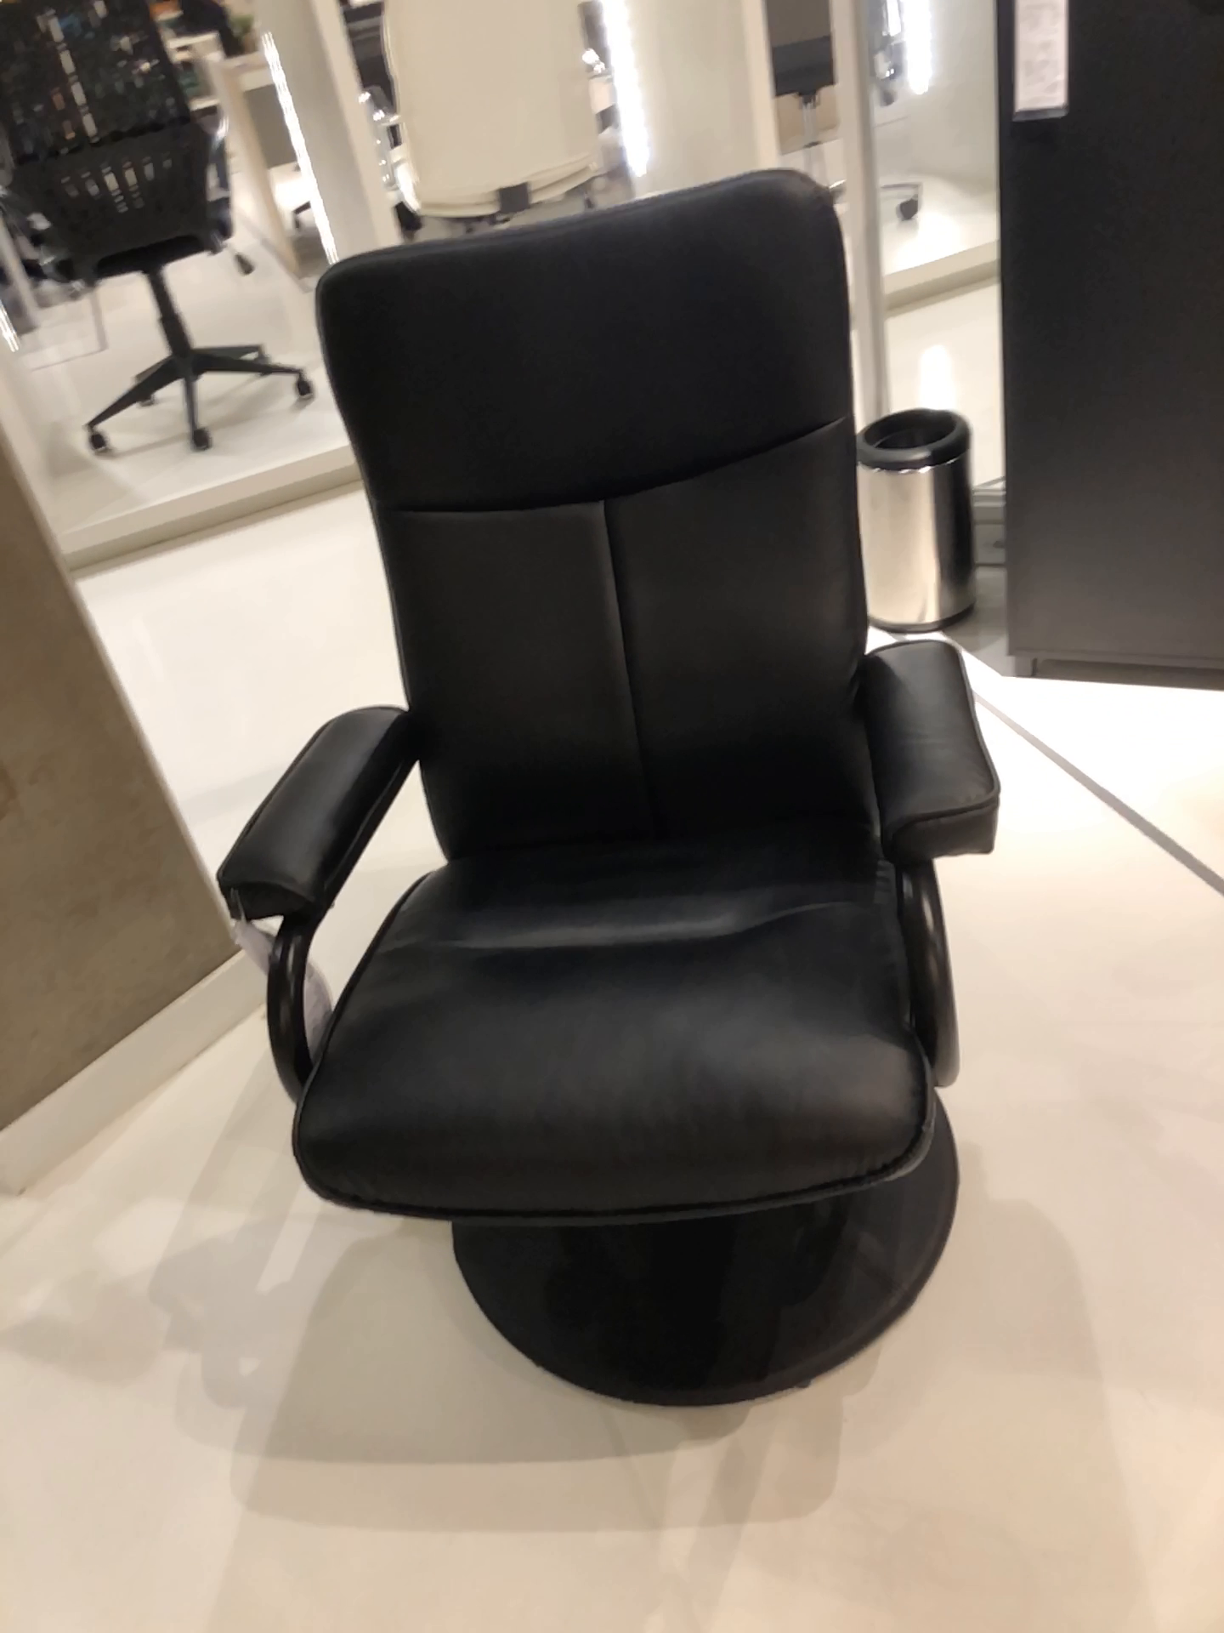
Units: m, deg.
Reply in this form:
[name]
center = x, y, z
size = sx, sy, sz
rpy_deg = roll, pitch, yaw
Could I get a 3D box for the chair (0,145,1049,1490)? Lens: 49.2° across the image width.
[chair]
center = -0.001, 0.027, 1.294
size = 0.690, 0.992, 0.736
rpy_deg = -6, 36, 10
